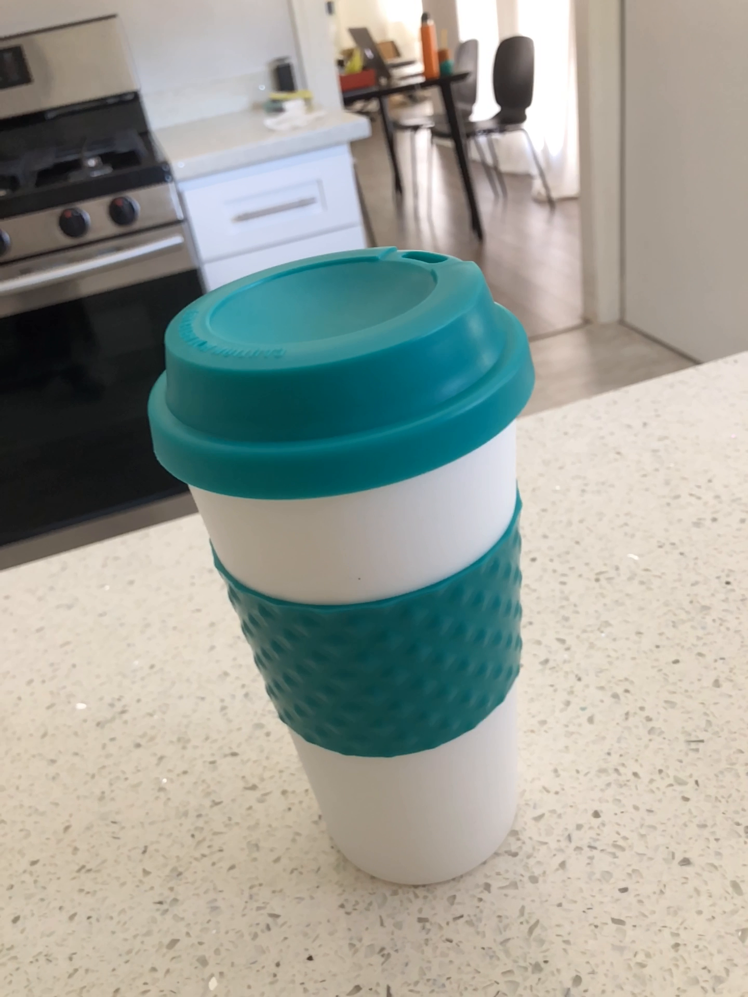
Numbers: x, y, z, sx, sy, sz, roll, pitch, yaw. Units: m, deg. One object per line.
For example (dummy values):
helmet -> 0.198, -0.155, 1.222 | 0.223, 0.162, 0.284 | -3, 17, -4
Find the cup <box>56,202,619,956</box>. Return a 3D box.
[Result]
cup -> 0.001, 0.022, 0.235 | 0.100, 0.169, 0.100 | -8, 30, 5
